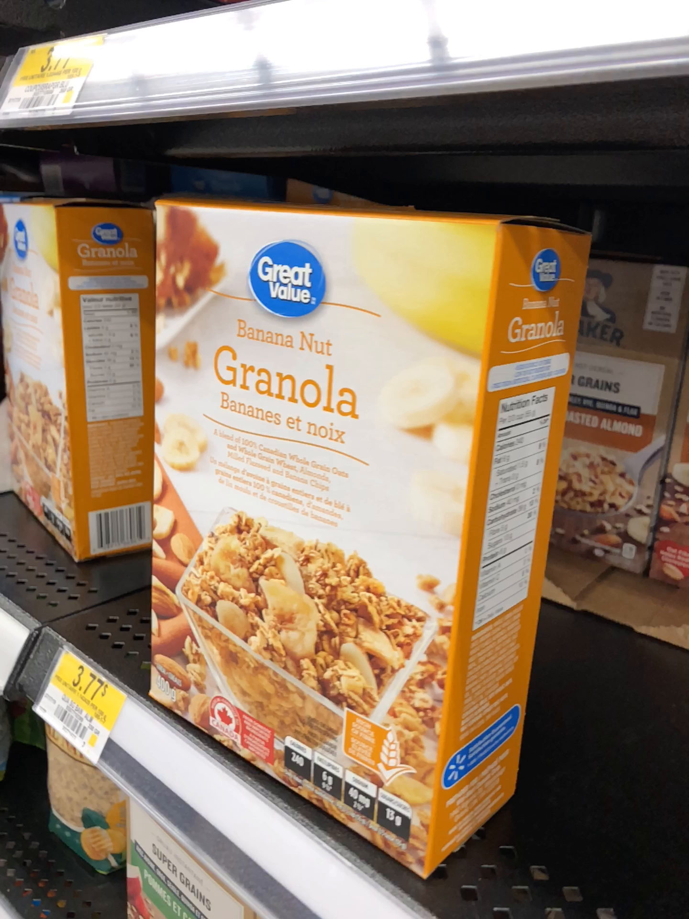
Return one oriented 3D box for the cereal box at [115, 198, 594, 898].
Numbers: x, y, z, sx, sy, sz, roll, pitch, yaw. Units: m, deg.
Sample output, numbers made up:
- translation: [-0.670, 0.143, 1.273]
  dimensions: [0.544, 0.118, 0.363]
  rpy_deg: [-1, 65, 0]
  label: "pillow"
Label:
- translation: [-0.010, 0.015, 0.287]
  dimensions: [0.160, 0.209, 0.060]
  rpy_deg: [17, 22, 39]
  label: "cereal box"
